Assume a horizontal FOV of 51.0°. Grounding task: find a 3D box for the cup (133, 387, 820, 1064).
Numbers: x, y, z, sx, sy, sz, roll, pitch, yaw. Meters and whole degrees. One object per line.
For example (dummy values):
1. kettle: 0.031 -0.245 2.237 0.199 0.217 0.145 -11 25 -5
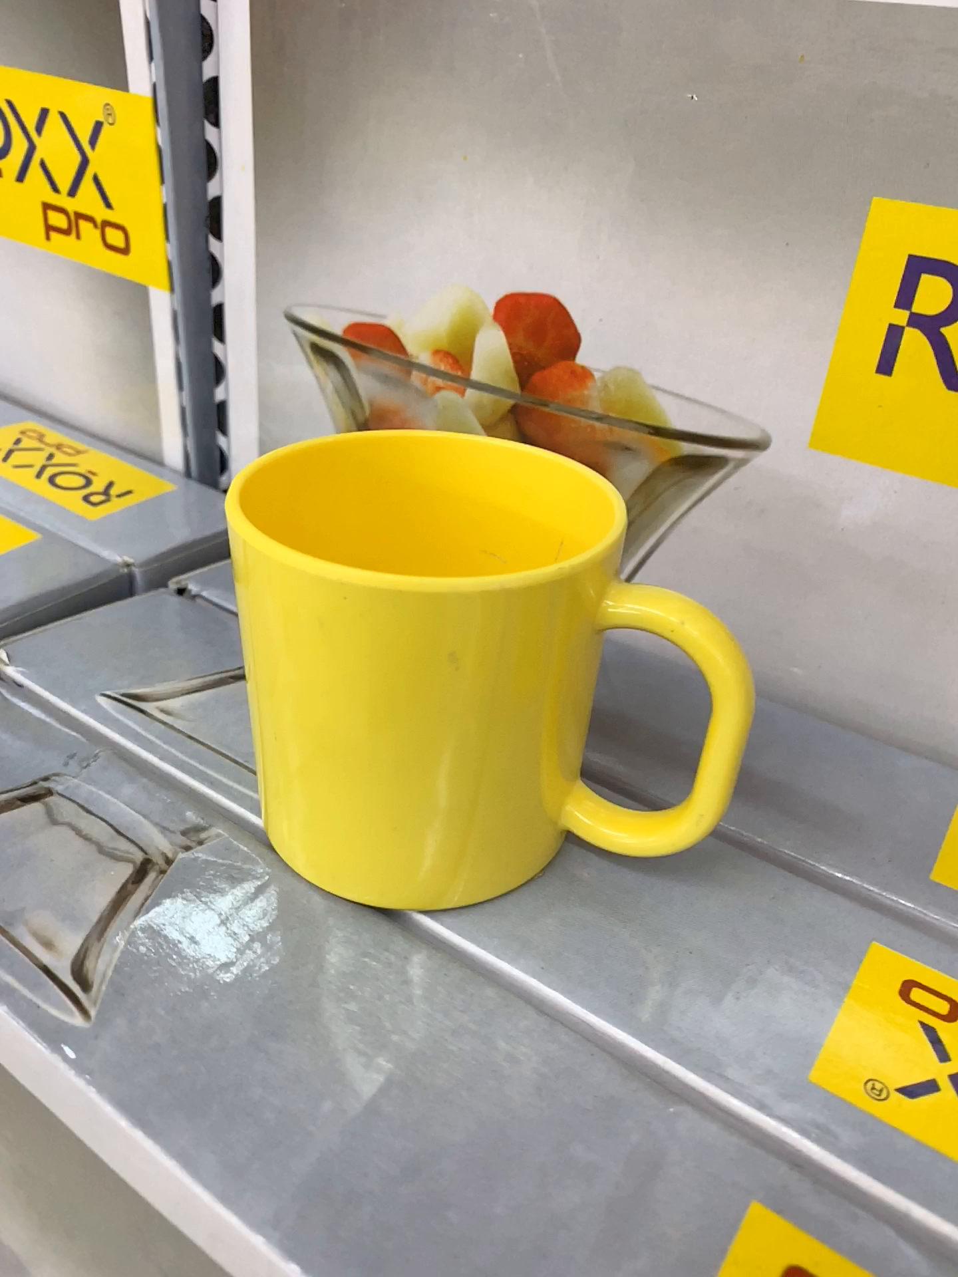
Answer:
1. cup: 0.000 0.009 0.196 0.100 0.079 0.070 18 33 20
